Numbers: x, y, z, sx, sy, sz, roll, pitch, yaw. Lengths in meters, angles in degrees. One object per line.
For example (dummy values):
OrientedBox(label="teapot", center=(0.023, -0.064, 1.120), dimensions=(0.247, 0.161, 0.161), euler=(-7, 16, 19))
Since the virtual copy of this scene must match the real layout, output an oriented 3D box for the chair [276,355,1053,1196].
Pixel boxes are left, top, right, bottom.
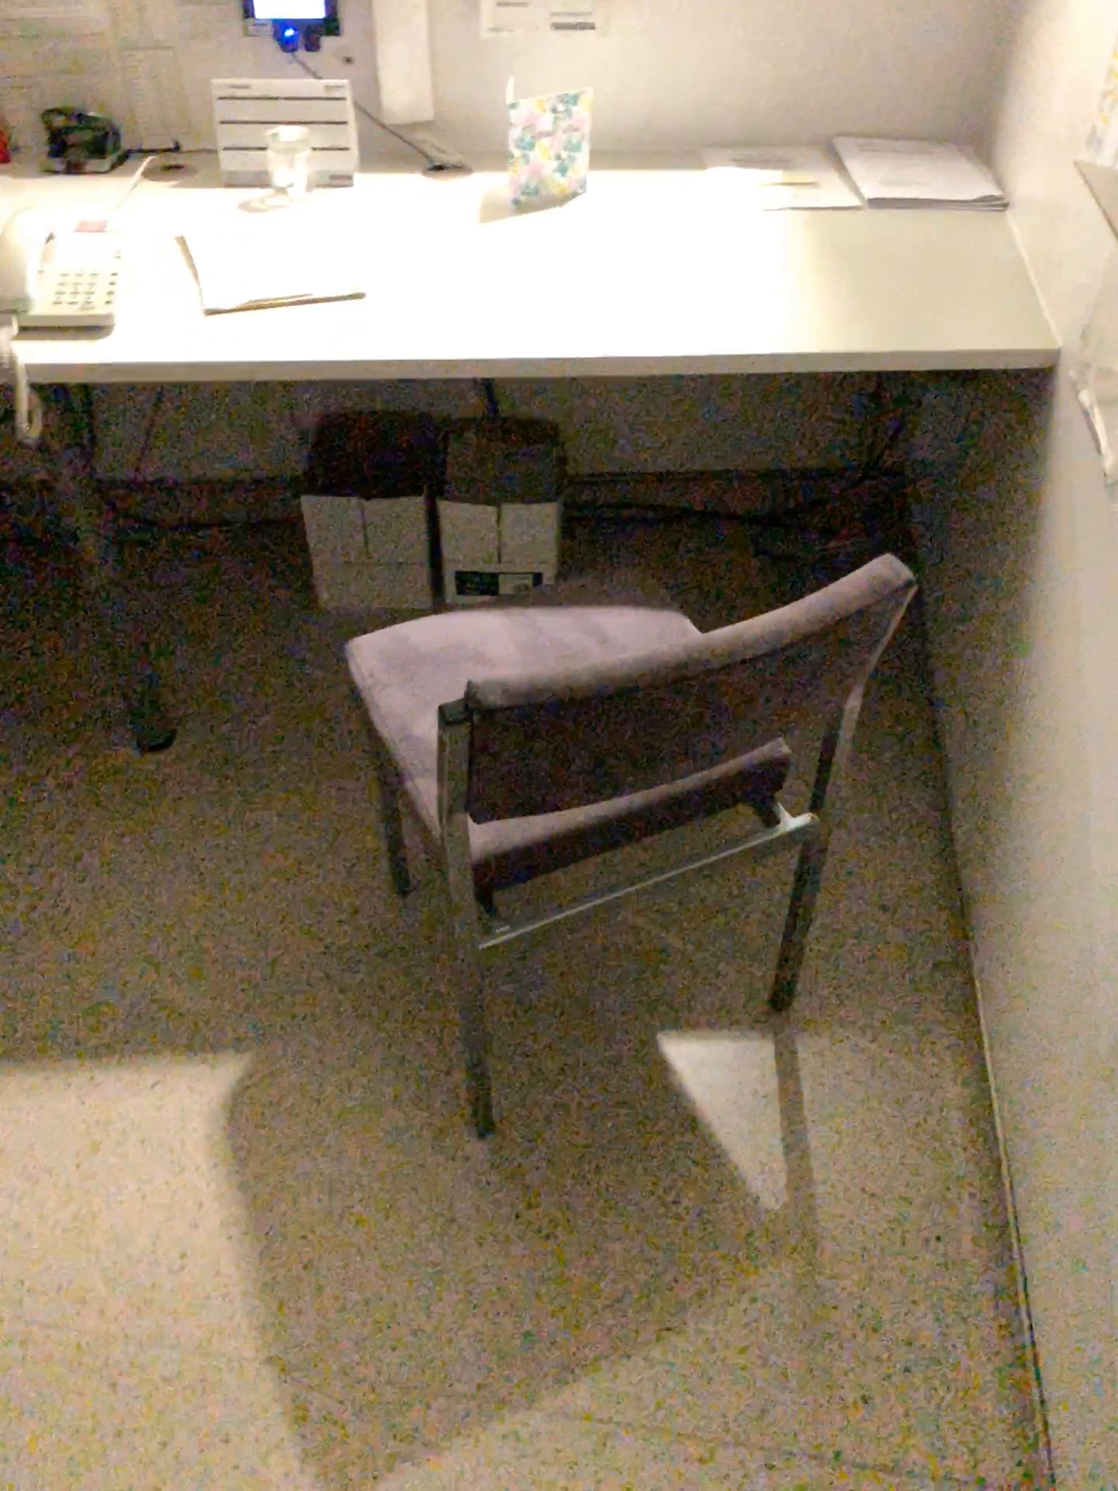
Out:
OrientedBox(label="chair", center=(0.064, 0.016, 1.332), dimensions=(0.571, 0.664, 0.555), euler=(-16, 45, -17))
